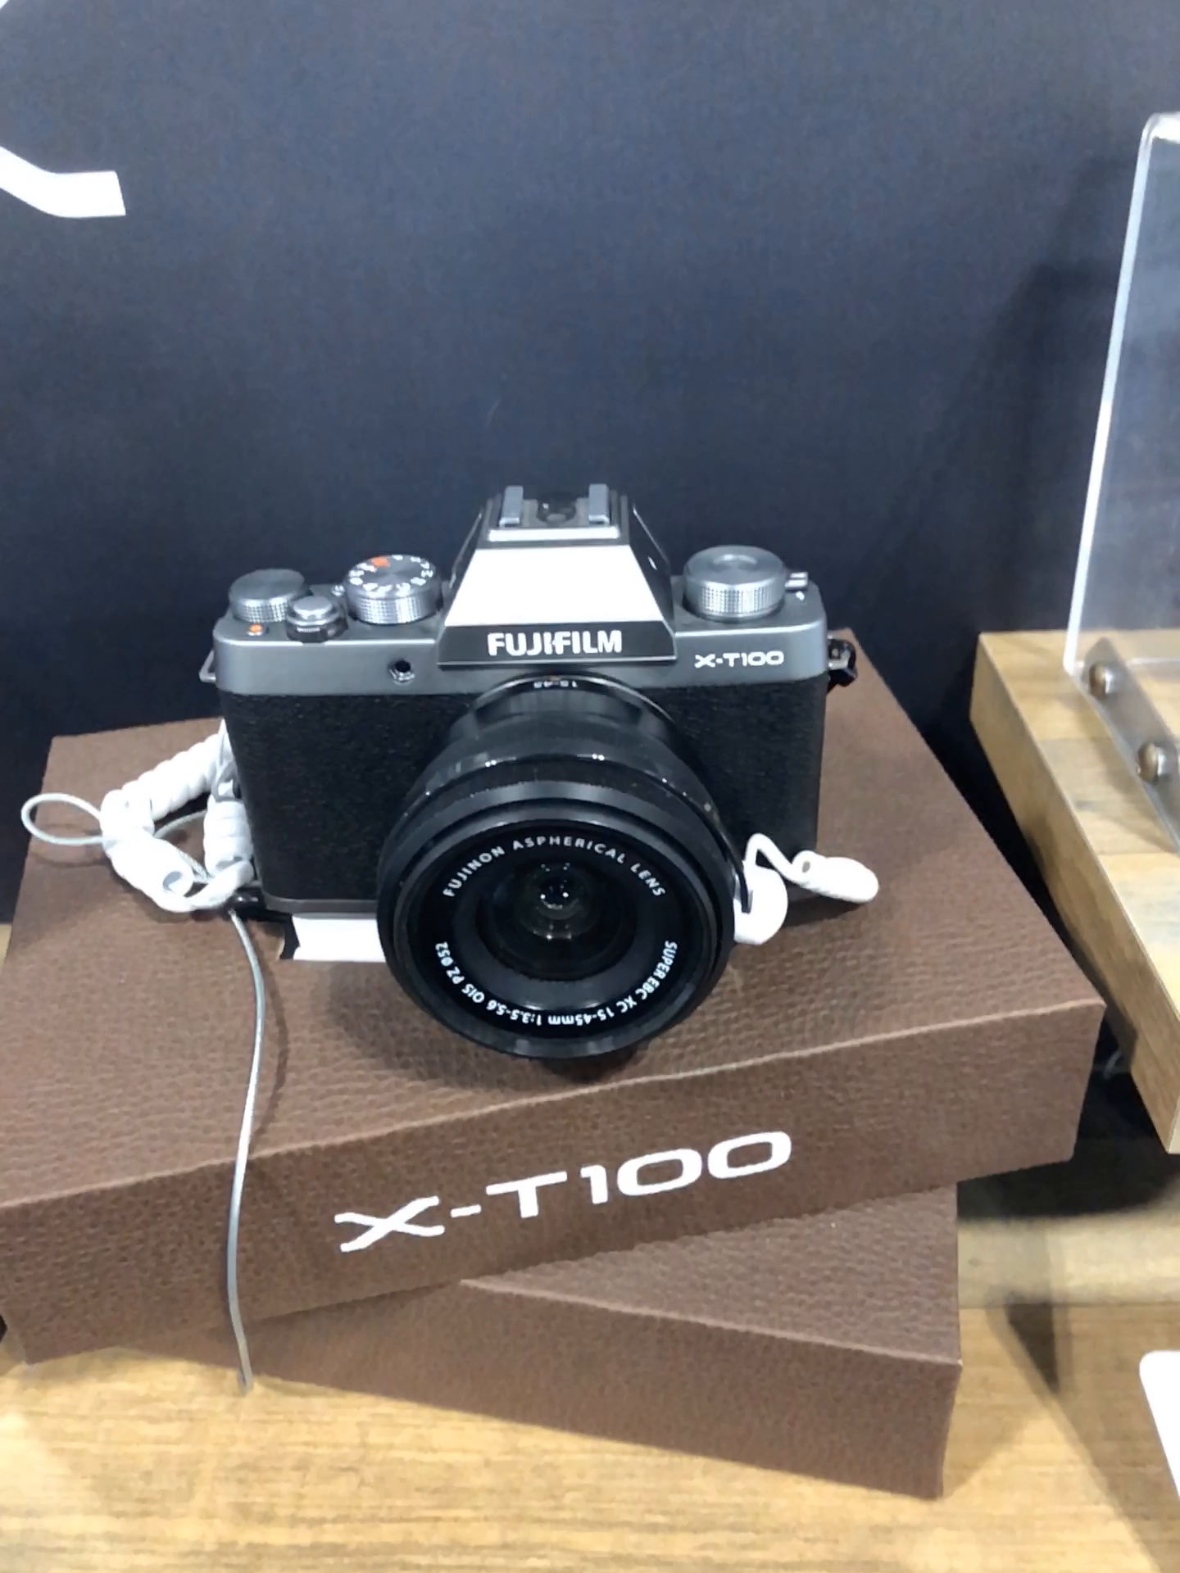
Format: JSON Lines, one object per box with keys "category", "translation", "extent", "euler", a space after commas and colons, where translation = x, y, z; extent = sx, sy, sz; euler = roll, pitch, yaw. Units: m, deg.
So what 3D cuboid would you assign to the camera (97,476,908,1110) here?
{"category": "camera", "translation": [-0.011, -0.003, 0.275], "extent": [0.130, 0.089, 0.101], "euler": [-2, 31, 3]}
